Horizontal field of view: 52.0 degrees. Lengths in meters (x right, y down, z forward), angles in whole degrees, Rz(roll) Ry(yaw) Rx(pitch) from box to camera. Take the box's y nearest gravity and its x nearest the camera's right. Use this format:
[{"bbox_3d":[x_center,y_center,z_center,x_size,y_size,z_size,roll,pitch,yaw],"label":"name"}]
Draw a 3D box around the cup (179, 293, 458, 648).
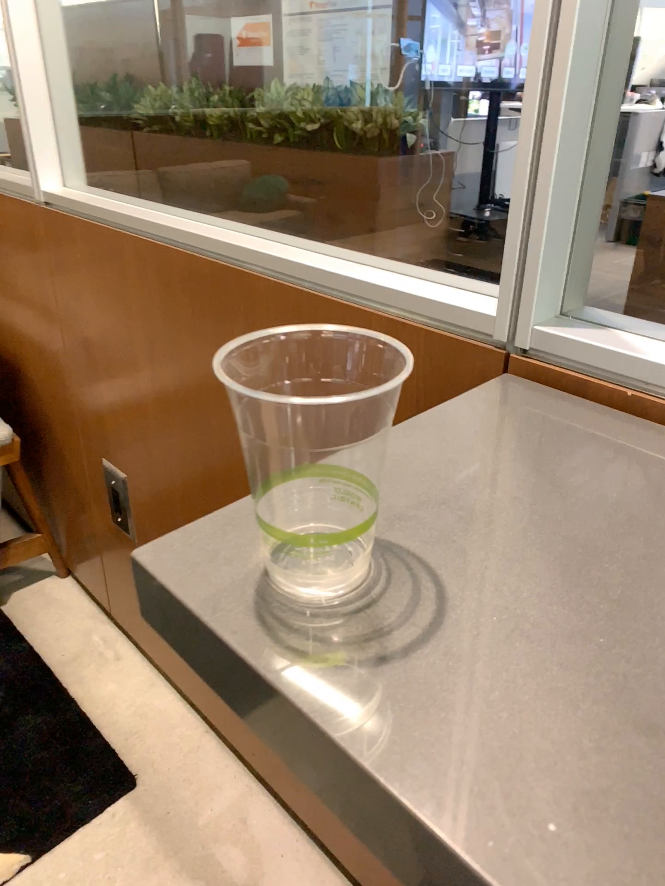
[{"bbox_3d":[-0.008,0.007,0.338,0.090,0.129,0.090,1,28,0],"label":"cup"}]
